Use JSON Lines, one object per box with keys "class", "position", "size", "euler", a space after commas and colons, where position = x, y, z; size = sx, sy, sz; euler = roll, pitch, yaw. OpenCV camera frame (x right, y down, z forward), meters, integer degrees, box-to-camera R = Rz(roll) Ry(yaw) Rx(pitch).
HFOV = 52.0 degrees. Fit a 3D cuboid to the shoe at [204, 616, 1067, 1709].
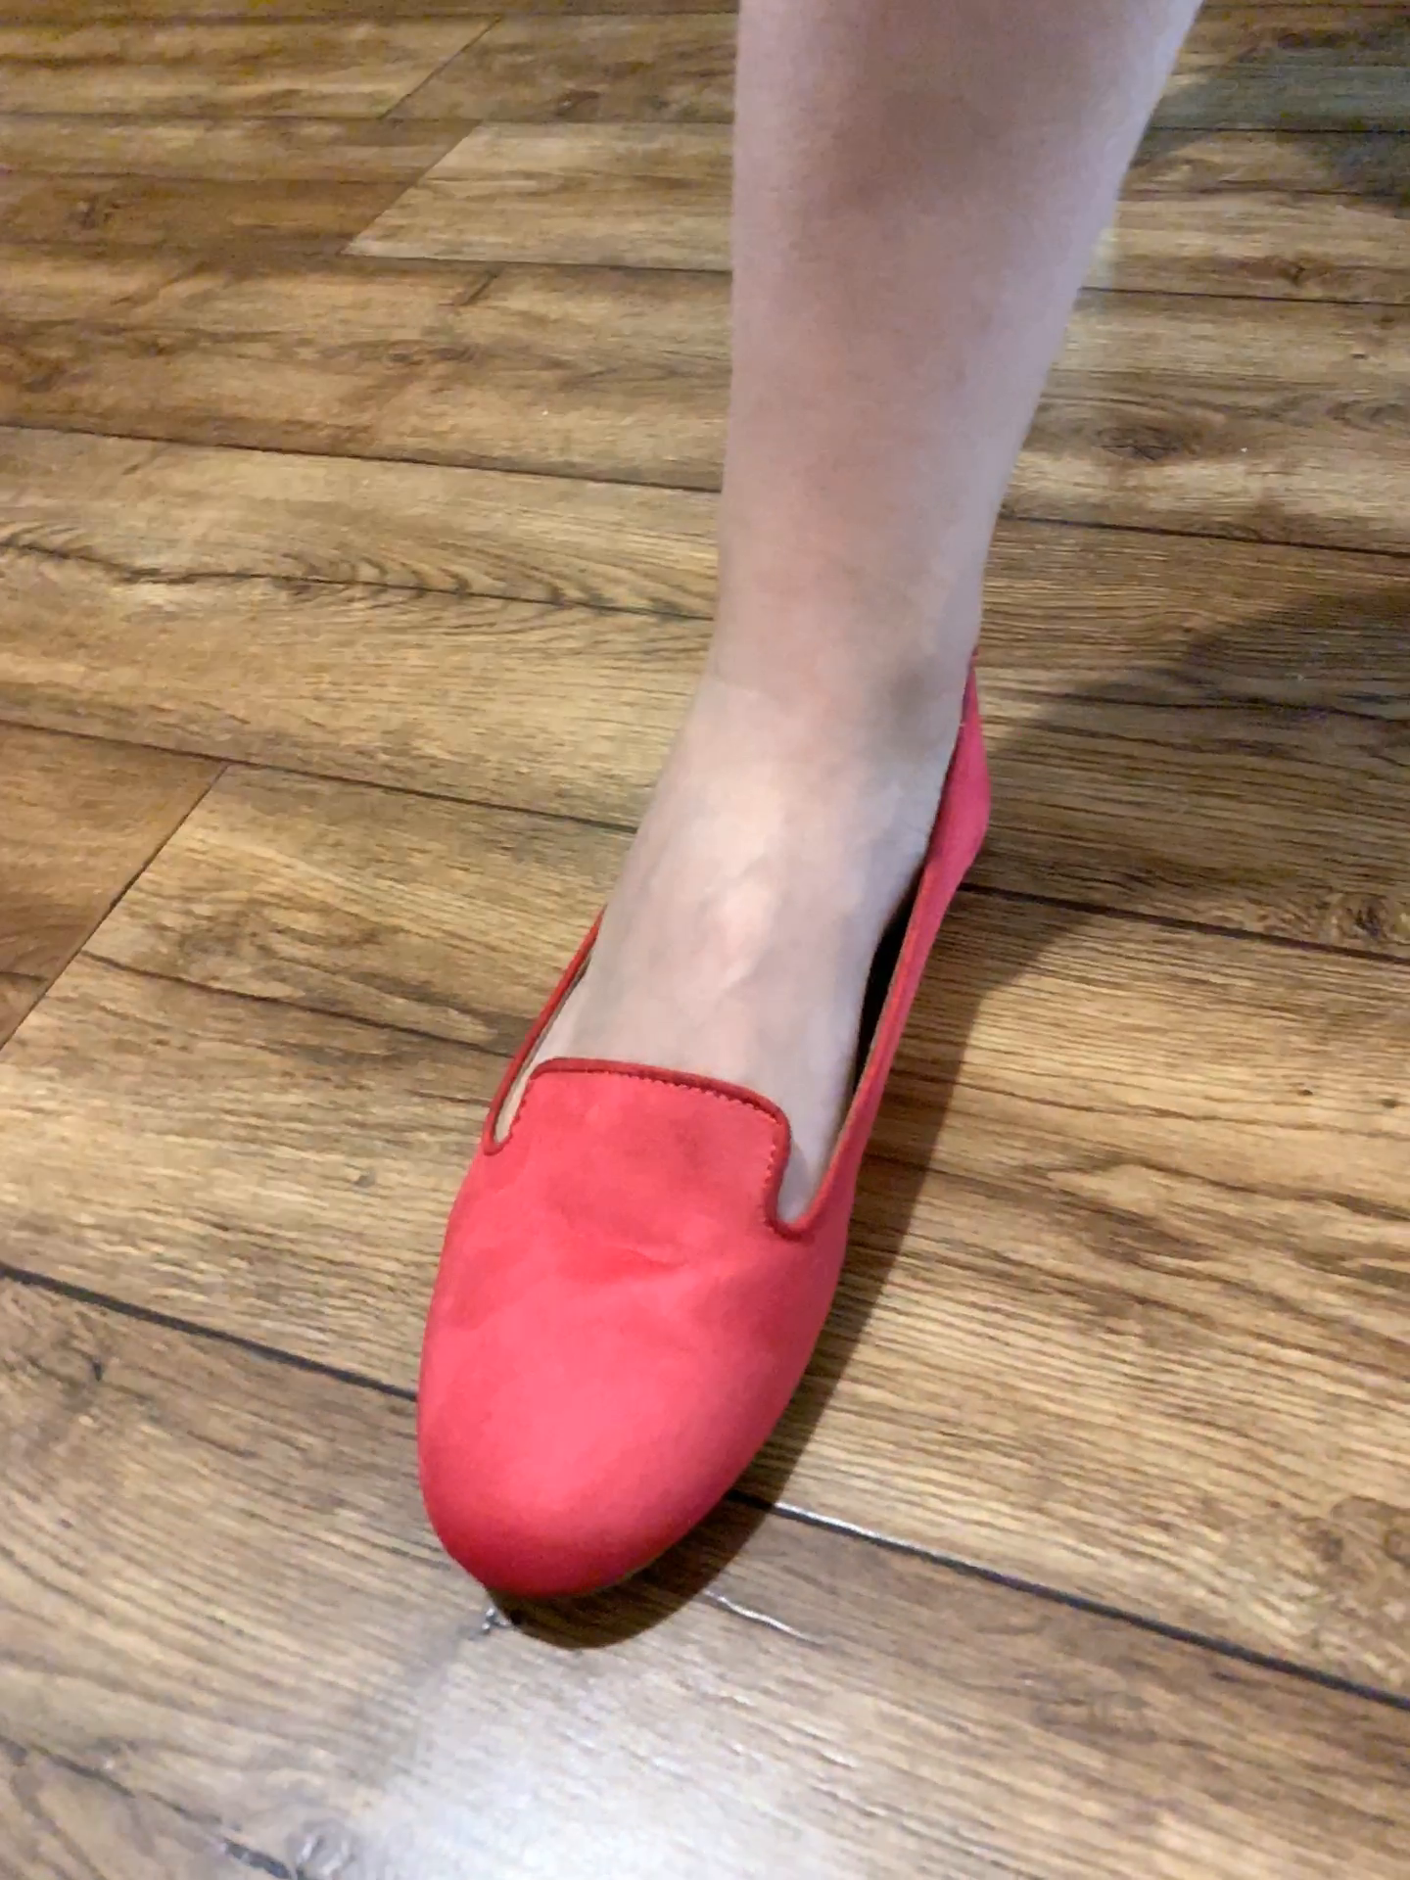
{"class": "shoe", "position": [0.004, 0.026, 0.310], "size": [0.086, 0.060, 0.221], "euler": [14, 52, 20]}
